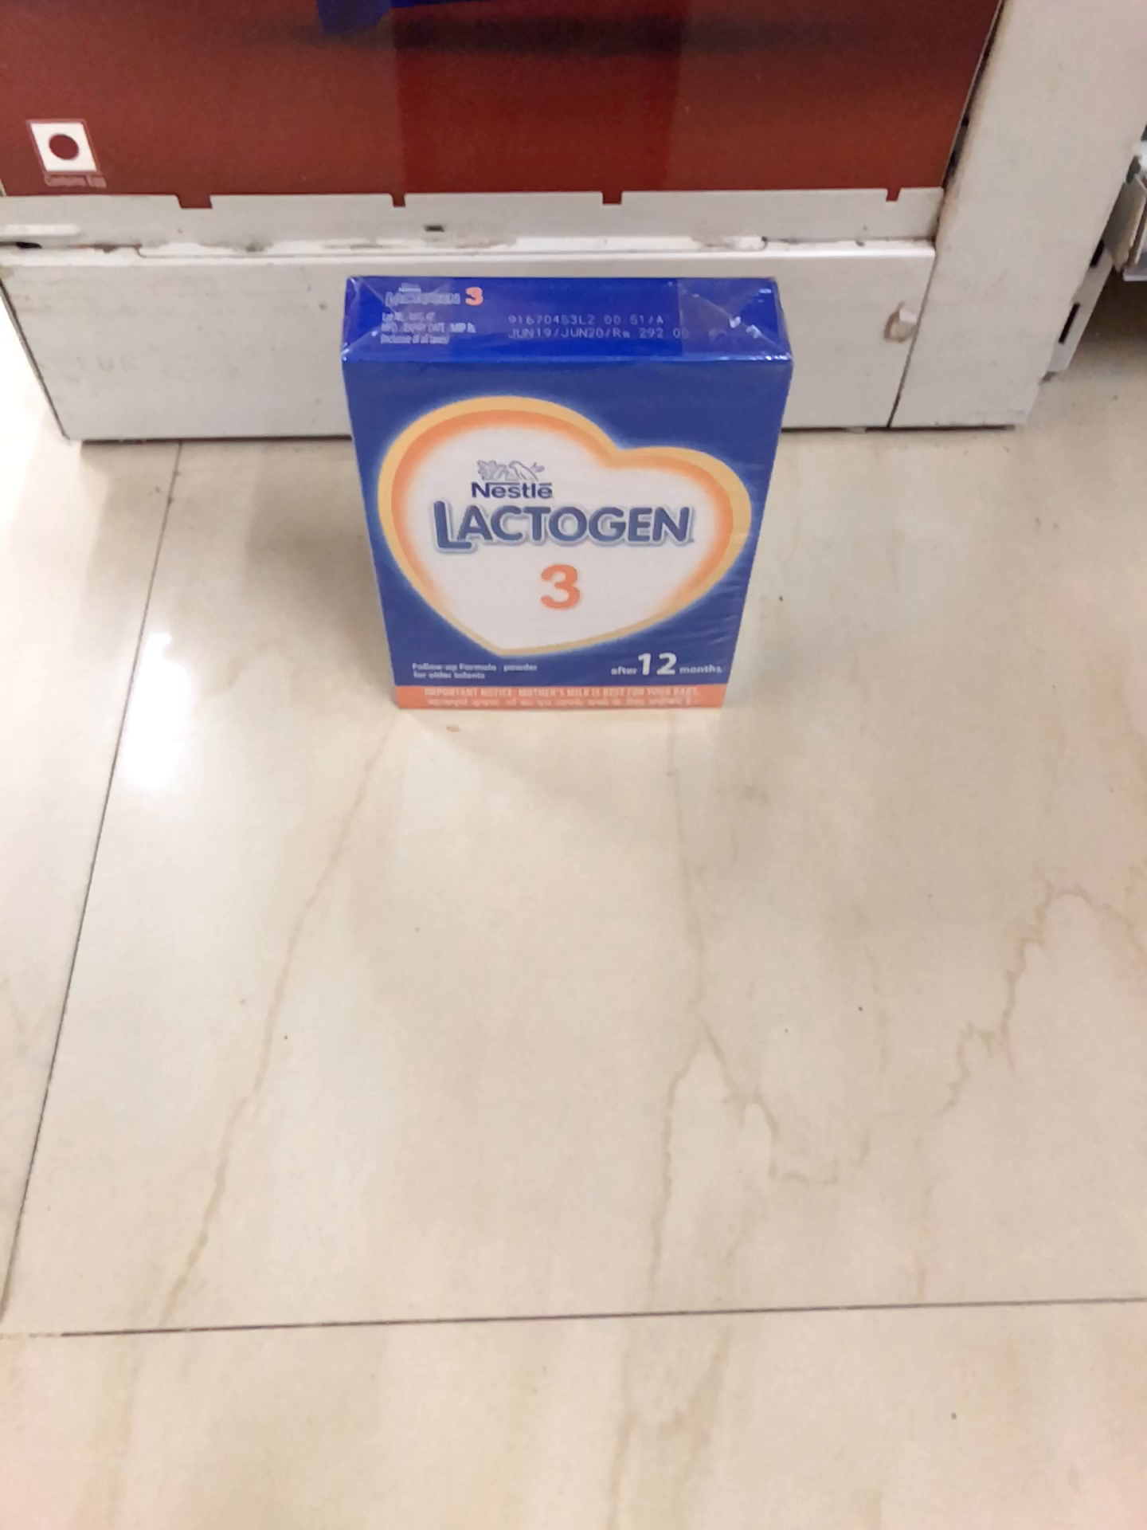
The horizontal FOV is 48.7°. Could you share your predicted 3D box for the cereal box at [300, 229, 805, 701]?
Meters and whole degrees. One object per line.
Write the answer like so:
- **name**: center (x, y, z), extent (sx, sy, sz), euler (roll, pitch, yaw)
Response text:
- **cereal box**: center (-0.008, -0.106, 0.497), extent (0.160, 0.189, 0.060), euler (0, 56, -1)
